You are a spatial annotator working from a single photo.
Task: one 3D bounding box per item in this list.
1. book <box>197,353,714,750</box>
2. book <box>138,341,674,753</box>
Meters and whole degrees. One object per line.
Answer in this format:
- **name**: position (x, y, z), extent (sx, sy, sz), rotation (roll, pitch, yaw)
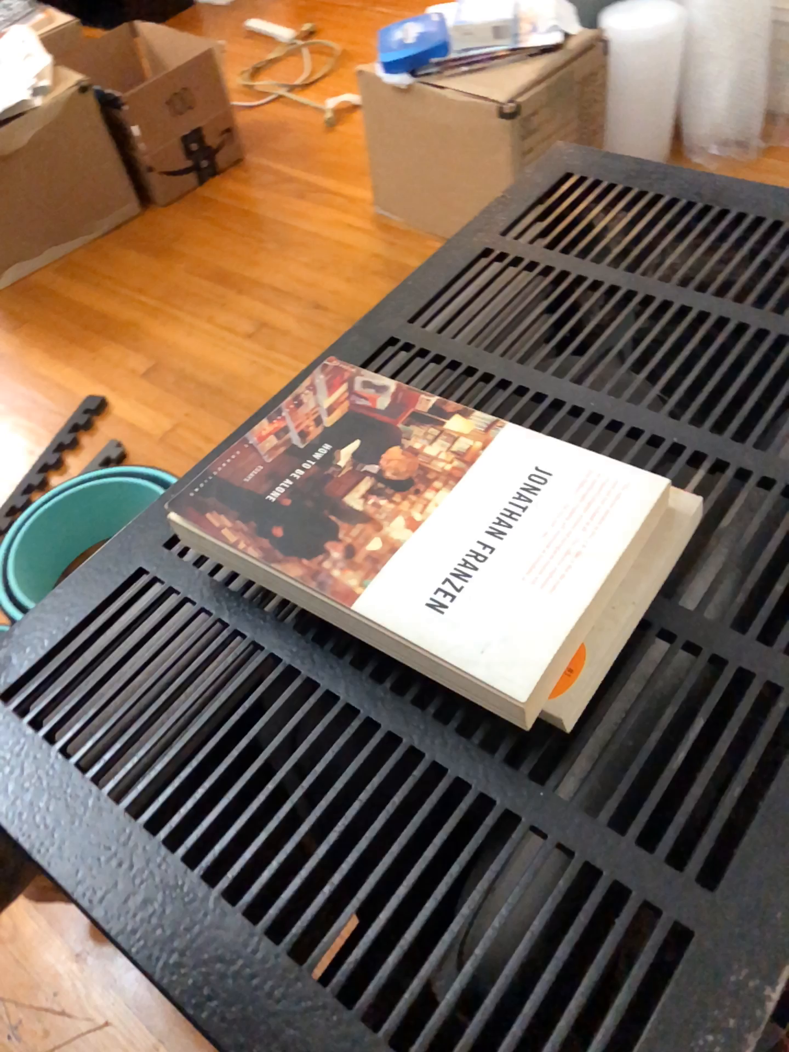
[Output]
- **book**: position (0.029, -0.003, 0.444), extent (0.210, 0.030, 0.150), rotation (24, 58, 27)
- **book**: position (0.004, -0.007, 0.427), extent (0.210, 0.030, 0.150), rotation (24, 58, 27)
